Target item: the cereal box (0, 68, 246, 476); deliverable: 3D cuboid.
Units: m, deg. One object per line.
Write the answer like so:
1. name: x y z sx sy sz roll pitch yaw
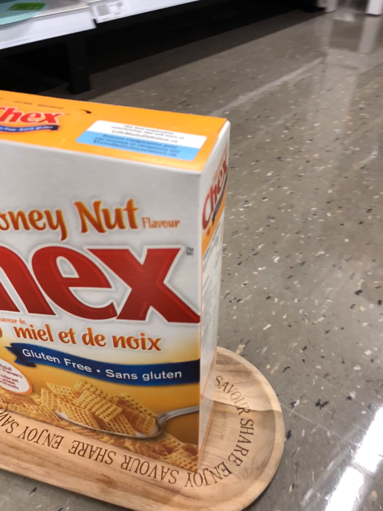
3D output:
1. cereal box: -0.082 0.032 0.300 0.210 0.279 0.060 12 42 14
